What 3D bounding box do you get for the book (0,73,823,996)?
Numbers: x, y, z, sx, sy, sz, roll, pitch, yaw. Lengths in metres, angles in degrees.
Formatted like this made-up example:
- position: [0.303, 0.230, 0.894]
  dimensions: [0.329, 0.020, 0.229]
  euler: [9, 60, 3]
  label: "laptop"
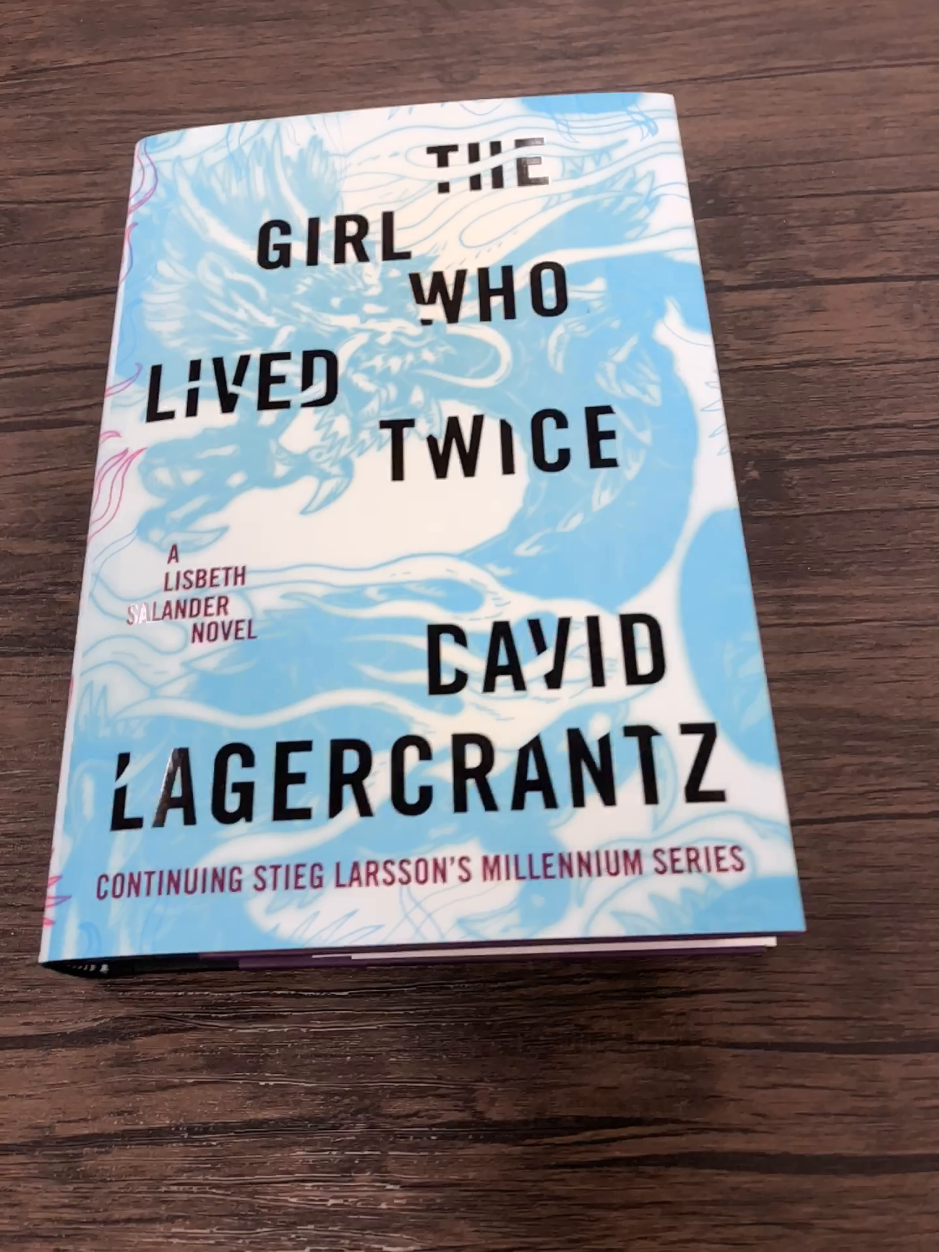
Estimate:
- position: [-0.018, -0.035, 0.274]
  dimensions: [0.170, 0.040, 0.240]
  euler: [-3, 67, 3]
  label: "book"
